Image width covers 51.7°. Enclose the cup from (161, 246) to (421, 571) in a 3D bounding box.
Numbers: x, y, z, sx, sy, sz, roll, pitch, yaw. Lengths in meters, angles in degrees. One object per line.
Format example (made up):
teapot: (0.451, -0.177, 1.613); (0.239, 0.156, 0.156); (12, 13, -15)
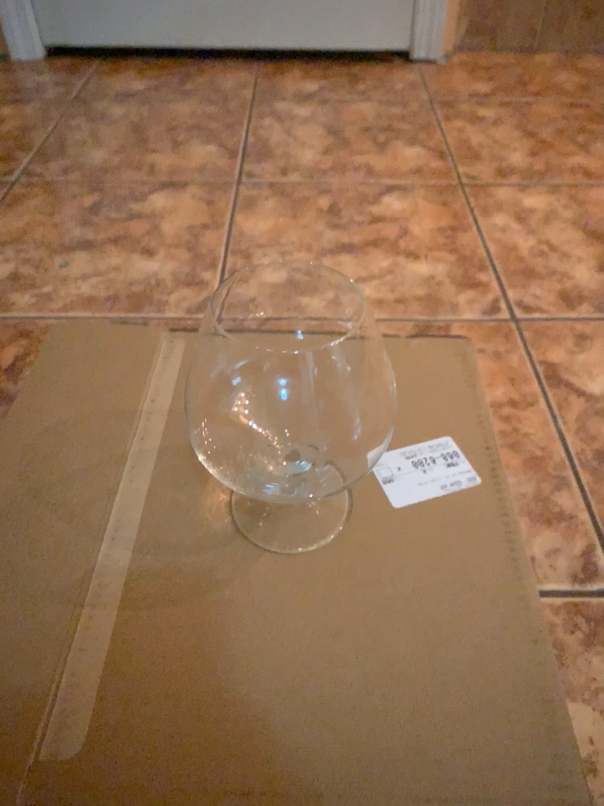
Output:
cup: (-0.006, 0.009, 0.337); (0.105, 0.158, 0.085); (-1, 44, -2)
